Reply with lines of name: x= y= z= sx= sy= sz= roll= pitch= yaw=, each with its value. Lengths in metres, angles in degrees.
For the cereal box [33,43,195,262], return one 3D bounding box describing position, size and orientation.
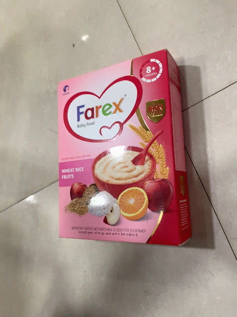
cereal box: x=-0.014 y=0.000 z=0.273 sx=0.171 sy=0.050 sz=0.190 roll=-6 pitch=82 yaw=28
